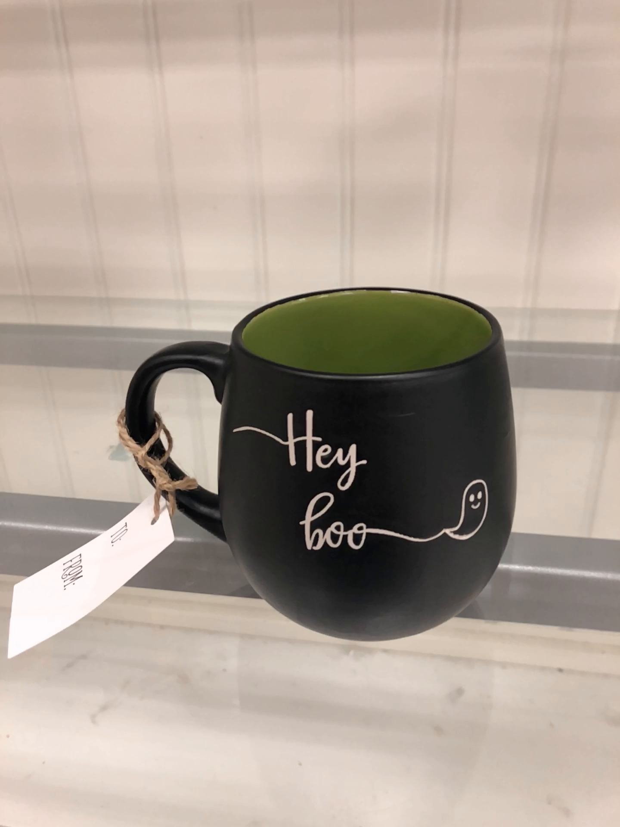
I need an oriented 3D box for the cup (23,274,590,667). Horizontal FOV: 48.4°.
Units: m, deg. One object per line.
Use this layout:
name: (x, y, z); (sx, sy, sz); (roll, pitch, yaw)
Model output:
cup: (0.003, 0.010, 0.237); (0.149, 0.089, 0.091); (3, 26, 10)
